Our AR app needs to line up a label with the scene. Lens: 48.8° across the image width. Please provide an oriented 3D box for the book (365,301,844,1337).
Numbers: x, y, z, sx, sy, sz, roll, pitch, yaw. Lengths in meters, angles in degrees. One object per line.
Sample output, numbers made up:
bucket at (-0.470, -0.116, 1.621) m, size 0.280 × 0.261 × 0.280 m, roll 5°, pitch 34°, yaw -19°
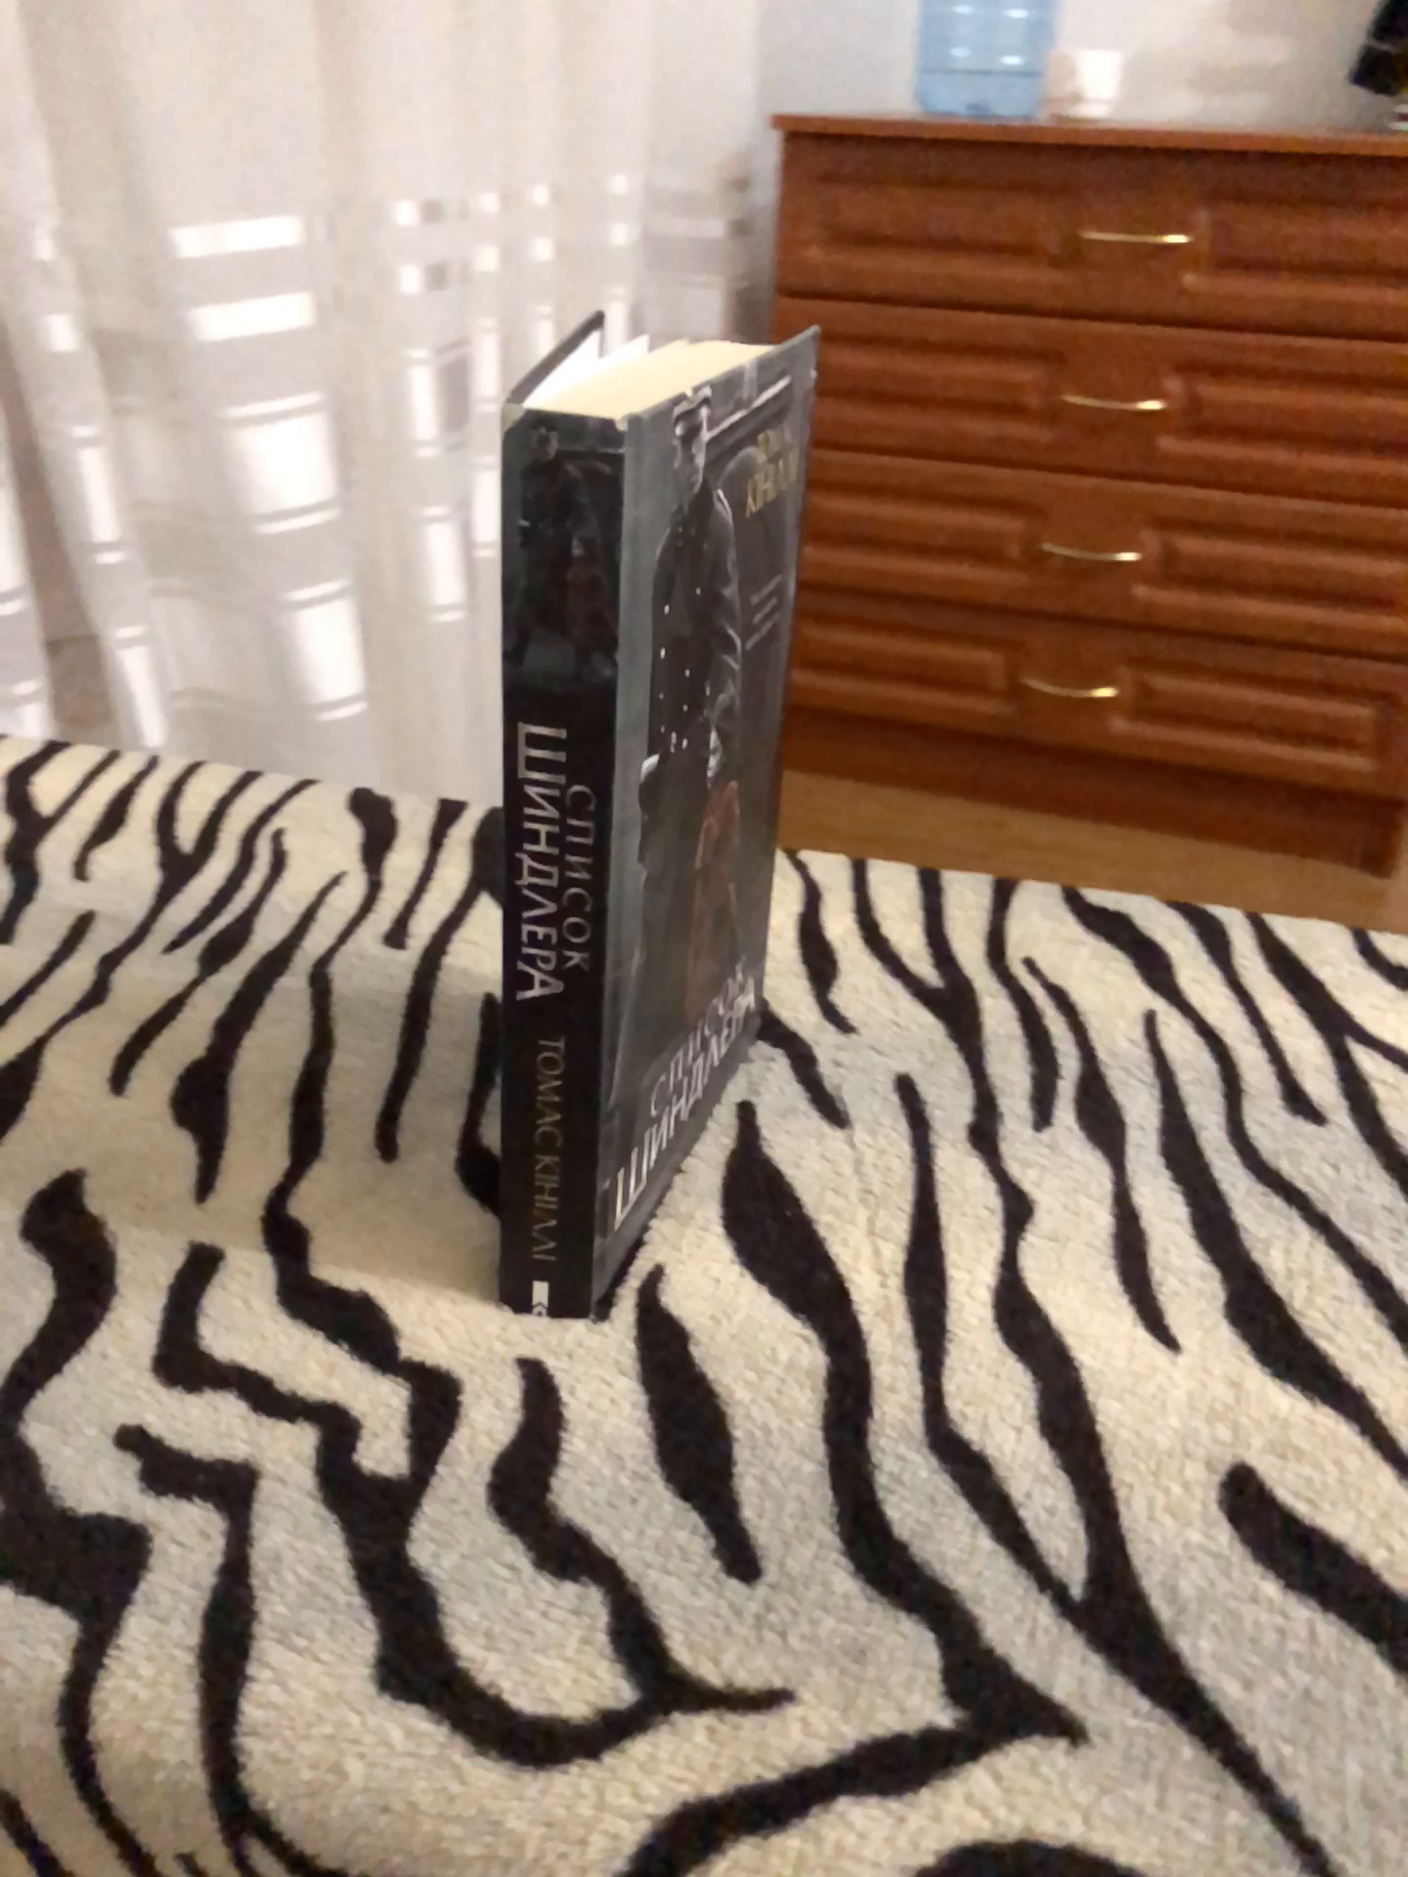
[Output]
book at (-0.016, -0.035, 0.359) m, size 0.057 × 0.191 × 0.145 m, roll 9°, pitch 29°, yaw 11°
